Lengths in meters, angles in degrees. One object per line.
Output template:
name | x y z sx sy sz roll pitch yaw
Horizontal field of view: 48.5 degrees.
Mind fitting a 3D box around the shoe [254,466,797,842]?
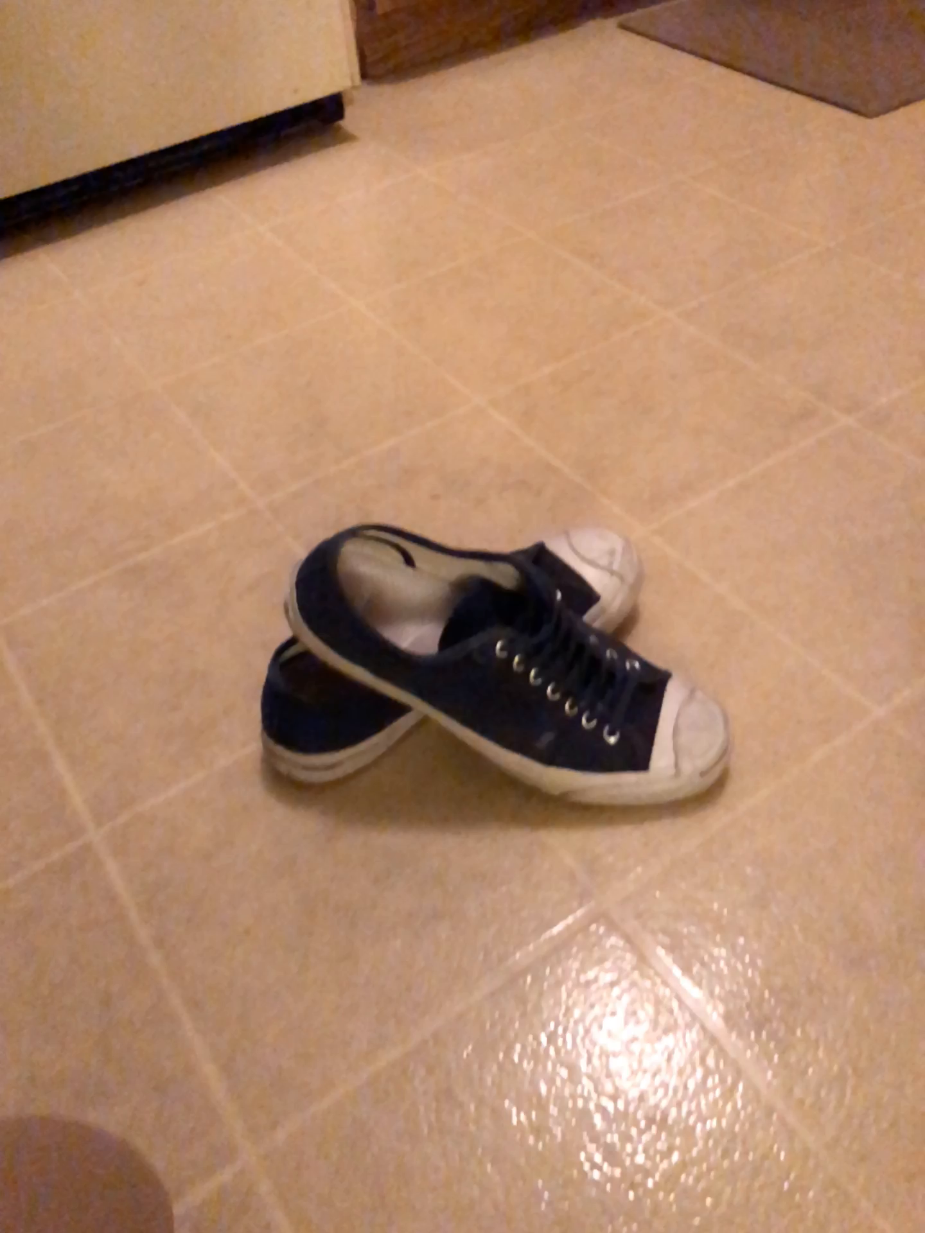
shoe | 0.035 0.030 0.612 0.290 0.100 0.100 22 67 -6

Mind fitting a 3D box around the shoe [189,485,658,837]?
shoe | -0.021 0.019 0.691 0.290 0.080 0.110 -24 53 -26
